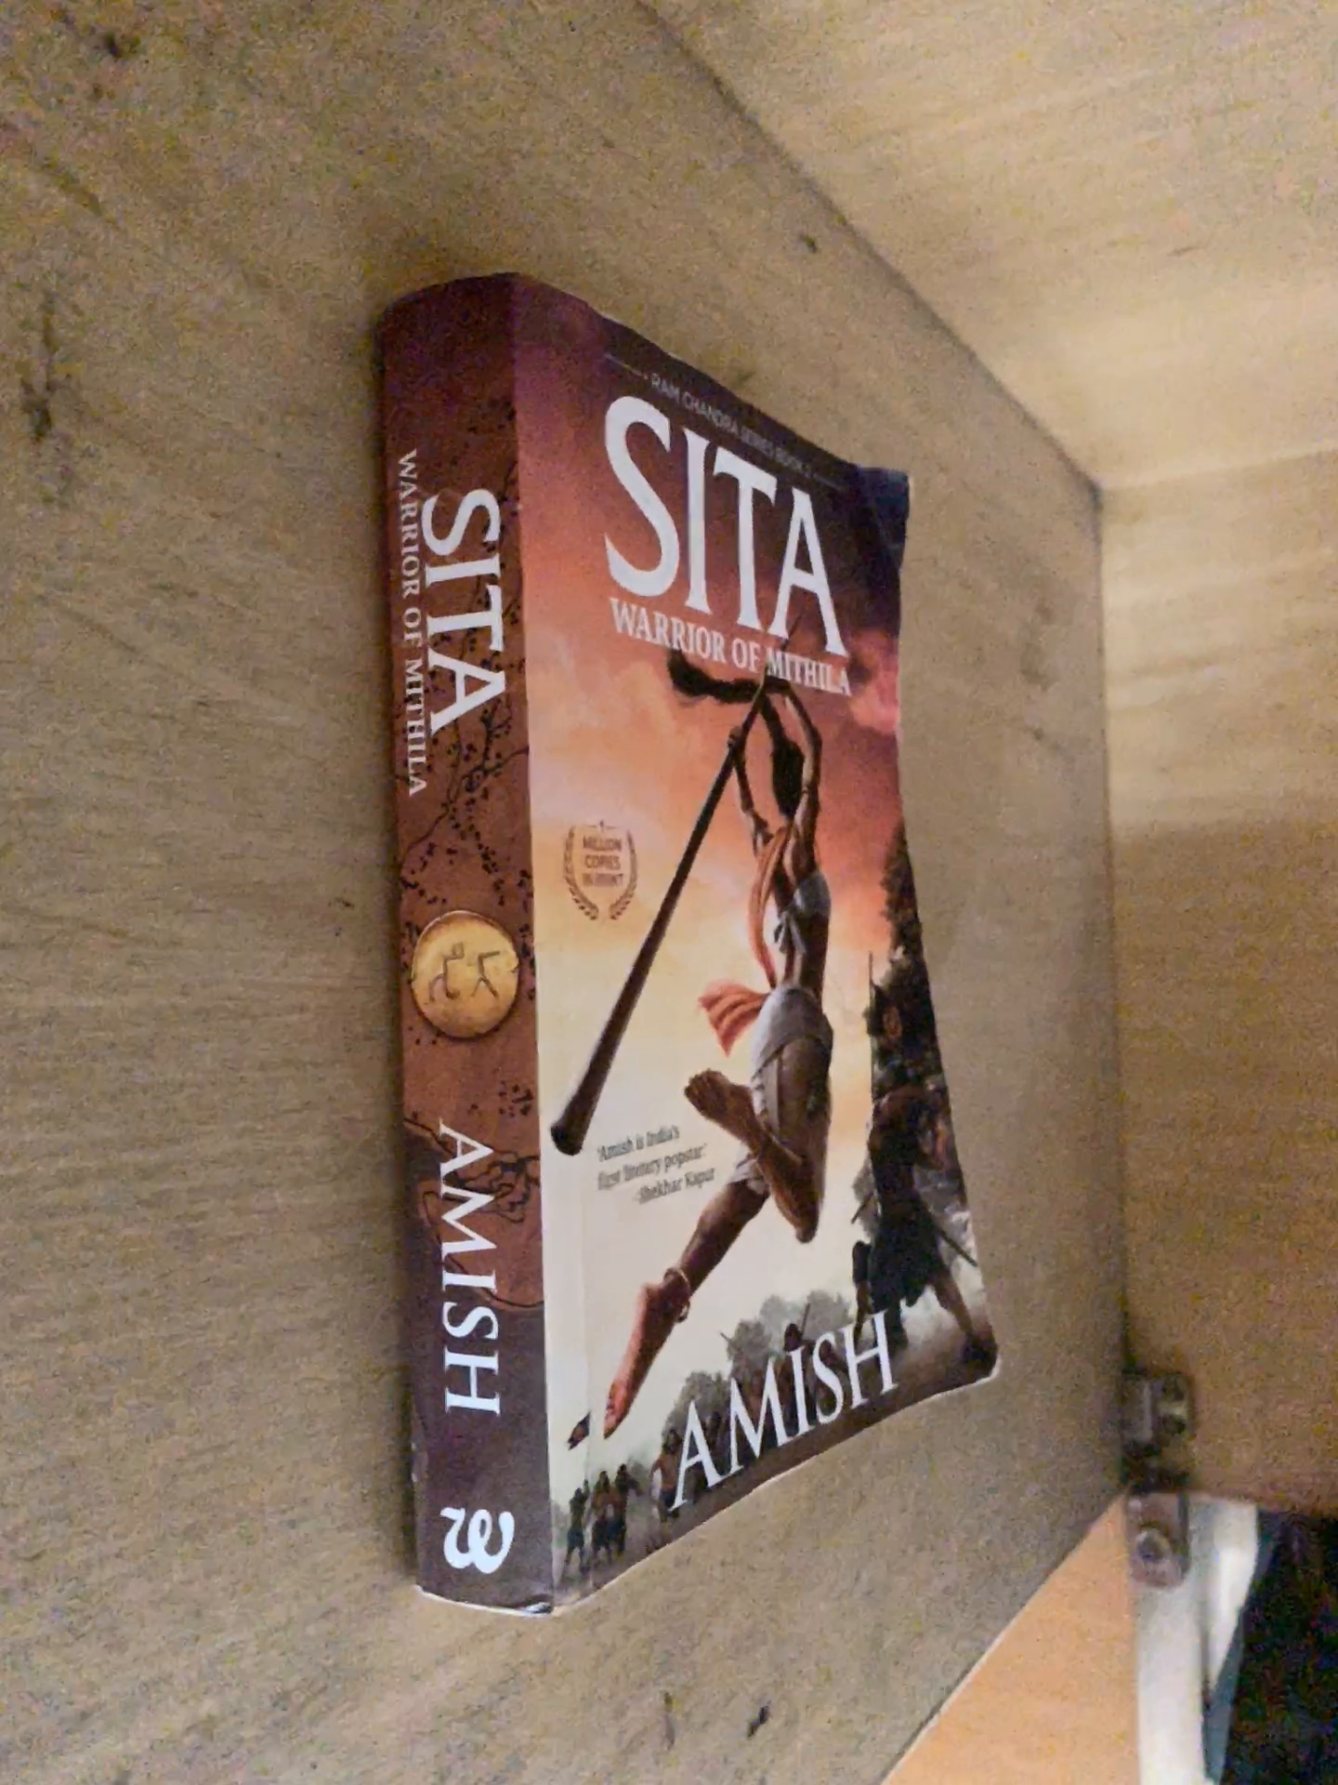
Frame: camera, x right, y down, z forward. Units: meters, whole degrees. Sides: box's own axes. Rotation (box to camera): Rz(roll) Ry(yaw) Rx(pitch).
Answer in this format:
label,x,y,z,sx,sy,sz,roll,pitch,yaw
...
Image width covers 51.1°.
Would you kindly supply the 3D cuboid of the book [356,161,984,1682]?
label,x,y,z,sx,sy,sz,roll,pitch,yaw
book,0.011,0.003,0.250,0.141,0.030,0.200,1,87,-55
